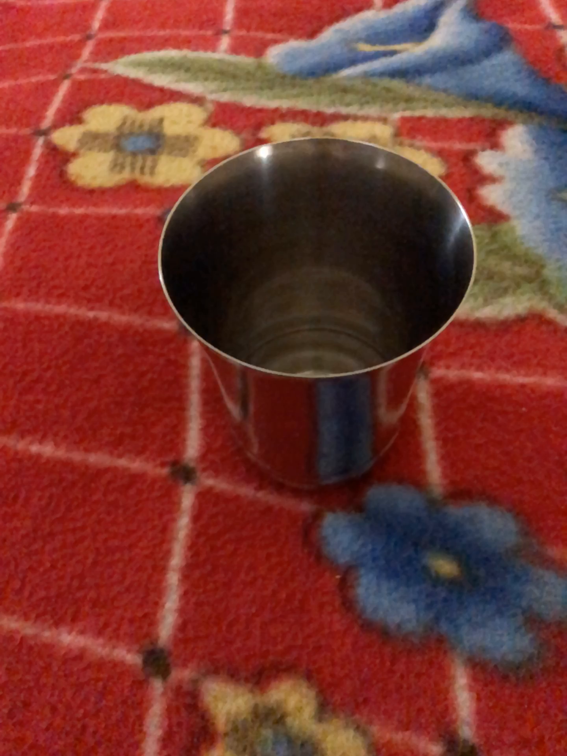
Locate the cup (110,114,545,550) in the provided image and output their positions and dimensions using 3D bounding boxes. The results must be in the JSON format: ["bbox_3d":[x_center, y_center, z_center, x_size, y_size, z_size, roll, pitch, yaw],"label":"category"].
[{"bbox_3d":[0.013,-0.010,0.192,0.089,0.090,0.087,0,57,0],"label":"cup"}]
